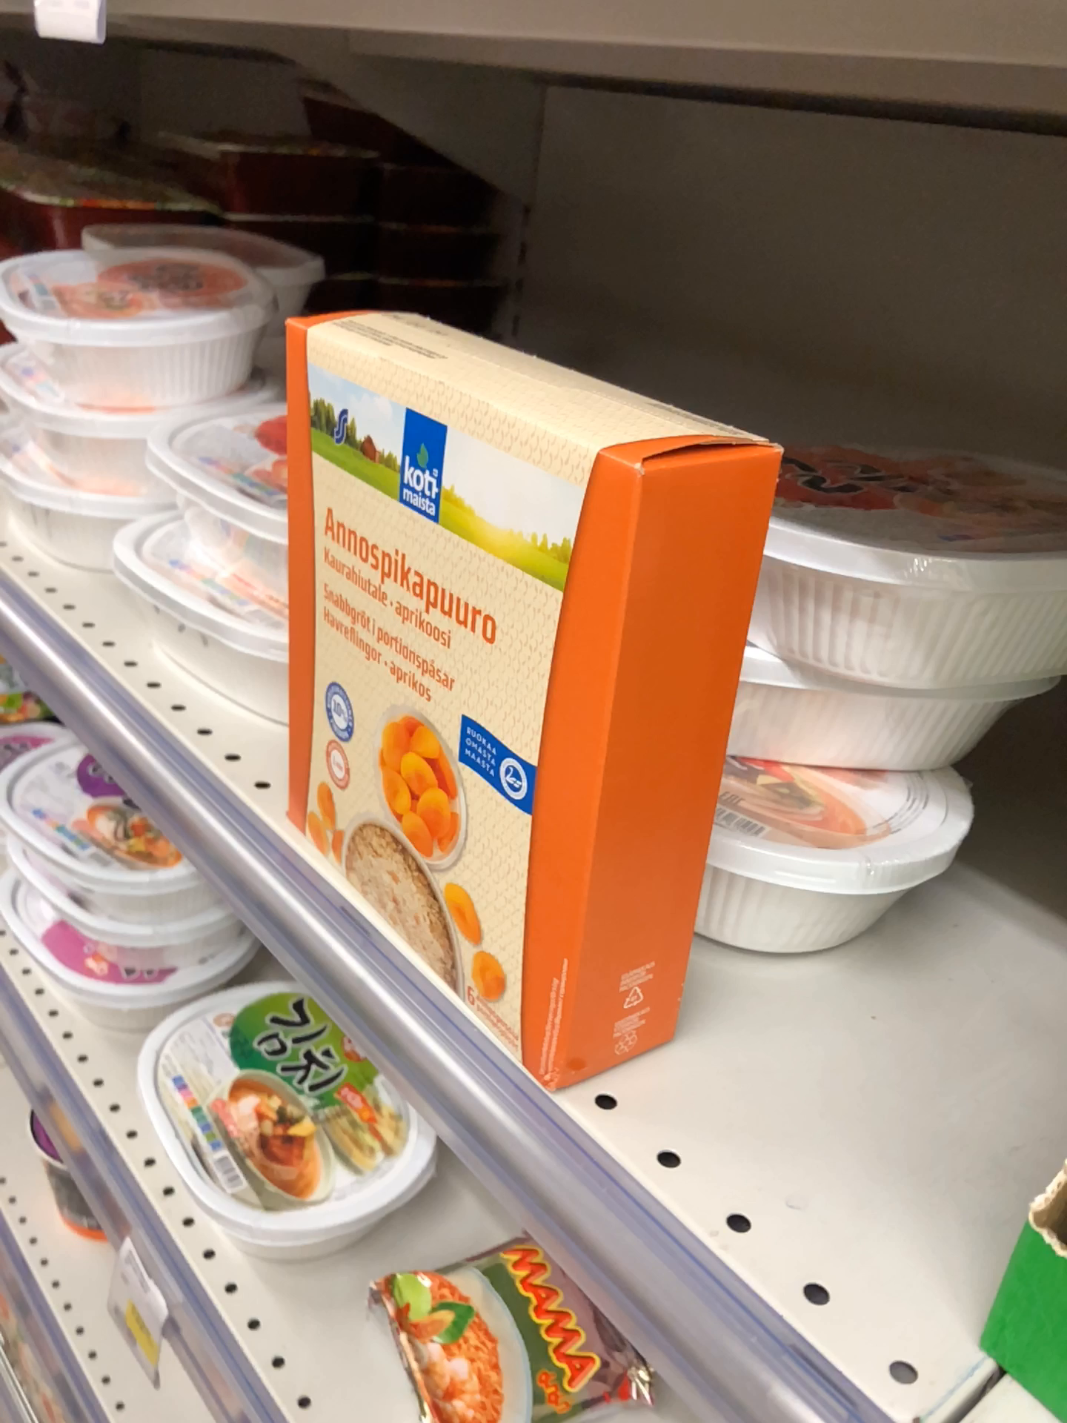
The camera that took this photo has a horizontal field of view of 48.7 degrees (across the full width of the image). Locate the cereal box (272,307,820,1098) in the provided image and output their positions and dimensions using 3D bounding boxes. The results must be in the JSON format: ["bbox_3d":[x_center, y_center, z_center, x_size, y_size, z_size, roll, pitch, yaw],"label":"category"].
[{"bbox_3d":[-0.015,-0.015,0.361,0.060,0.179,0.171,-12,32,-34],"label":"cereal box"}]
